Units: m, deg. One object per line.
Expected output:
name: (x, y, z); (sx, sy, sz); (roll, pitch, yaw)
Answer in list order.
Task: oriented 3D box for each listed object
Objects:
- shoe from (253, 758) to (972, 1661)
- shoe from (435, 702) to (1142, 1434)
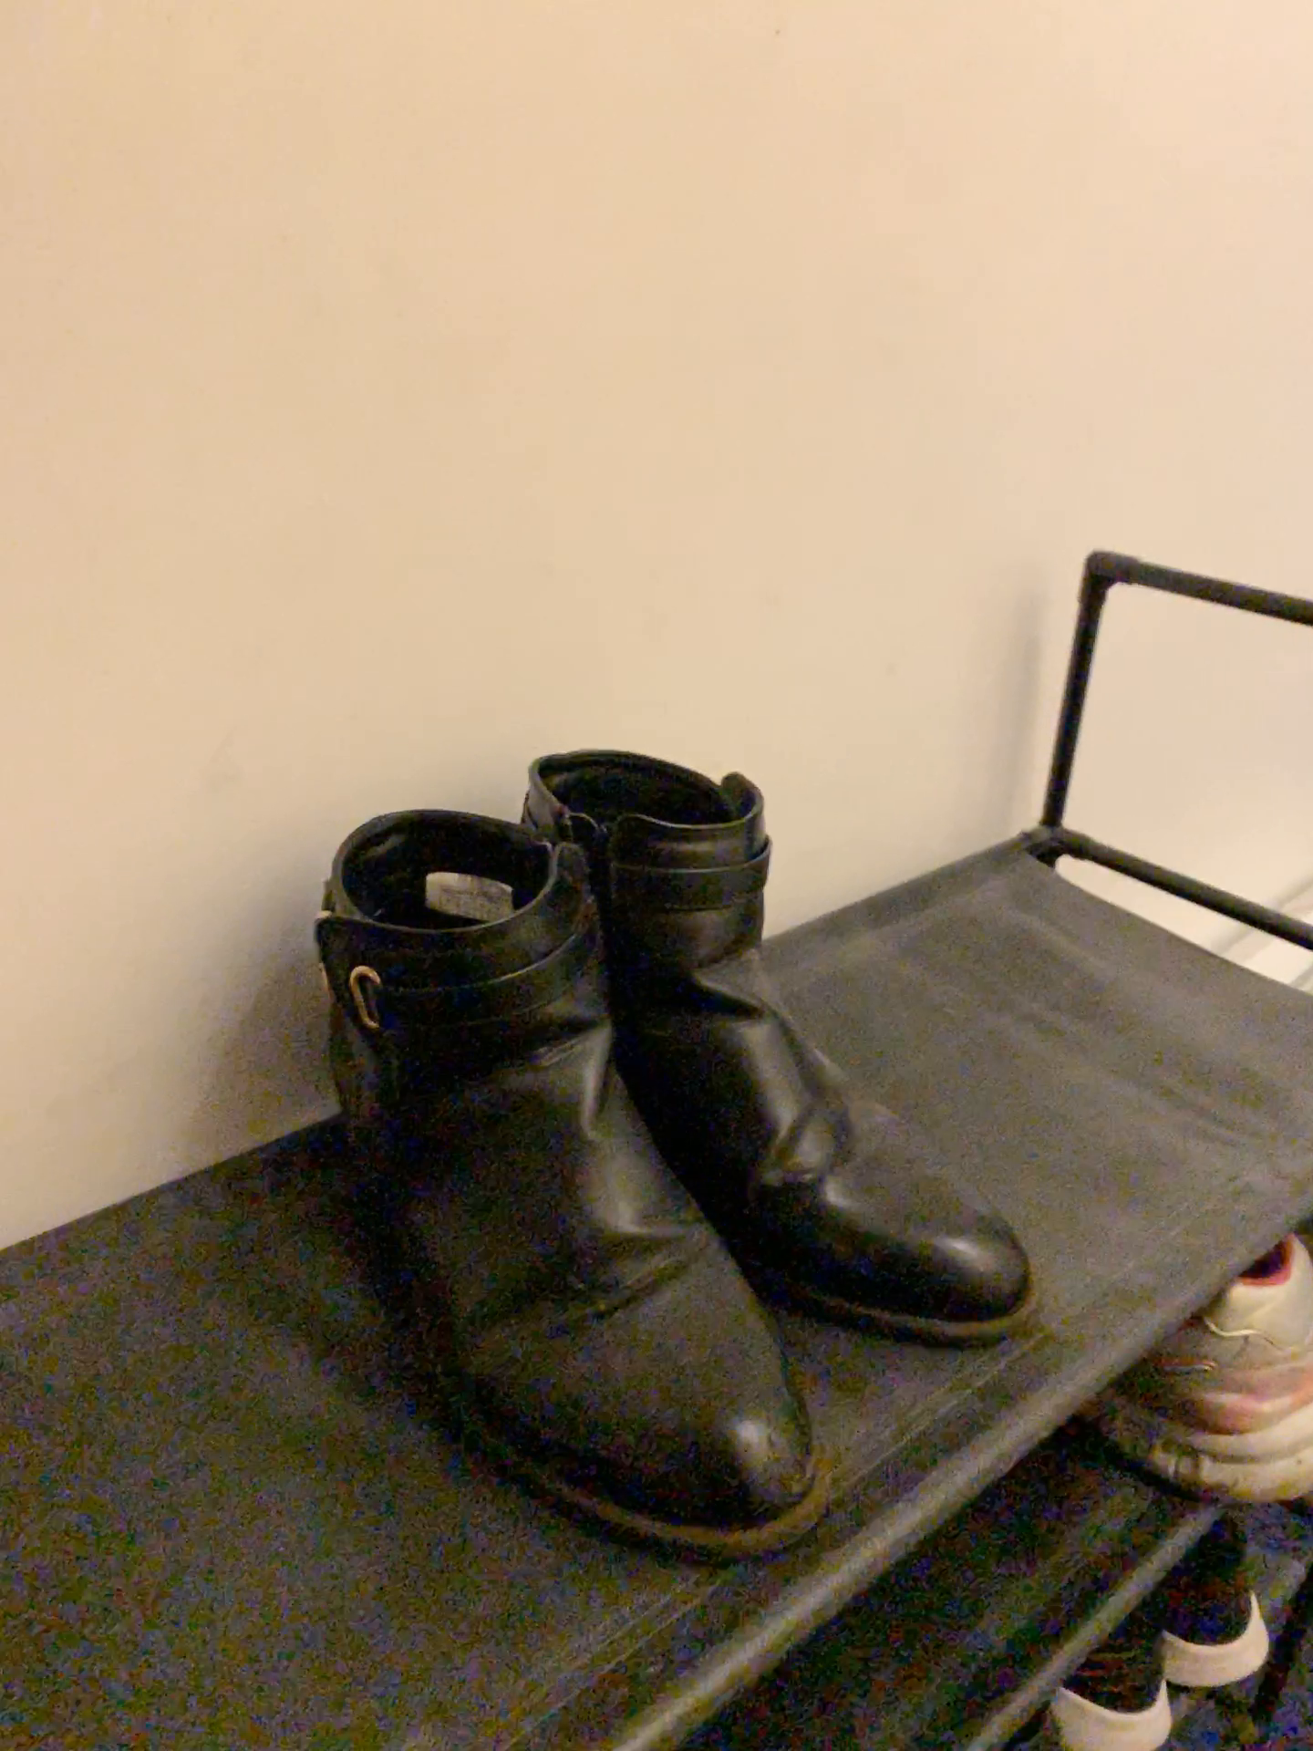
shoe: (-0.028, 0.083, 0.436); (0.100, 0.169, 0.221); (-17, 30, -36)
shoe: (0.034, 0.053, 0.516); (0.241, 0.169, 0.101); (23, 32, 38)
